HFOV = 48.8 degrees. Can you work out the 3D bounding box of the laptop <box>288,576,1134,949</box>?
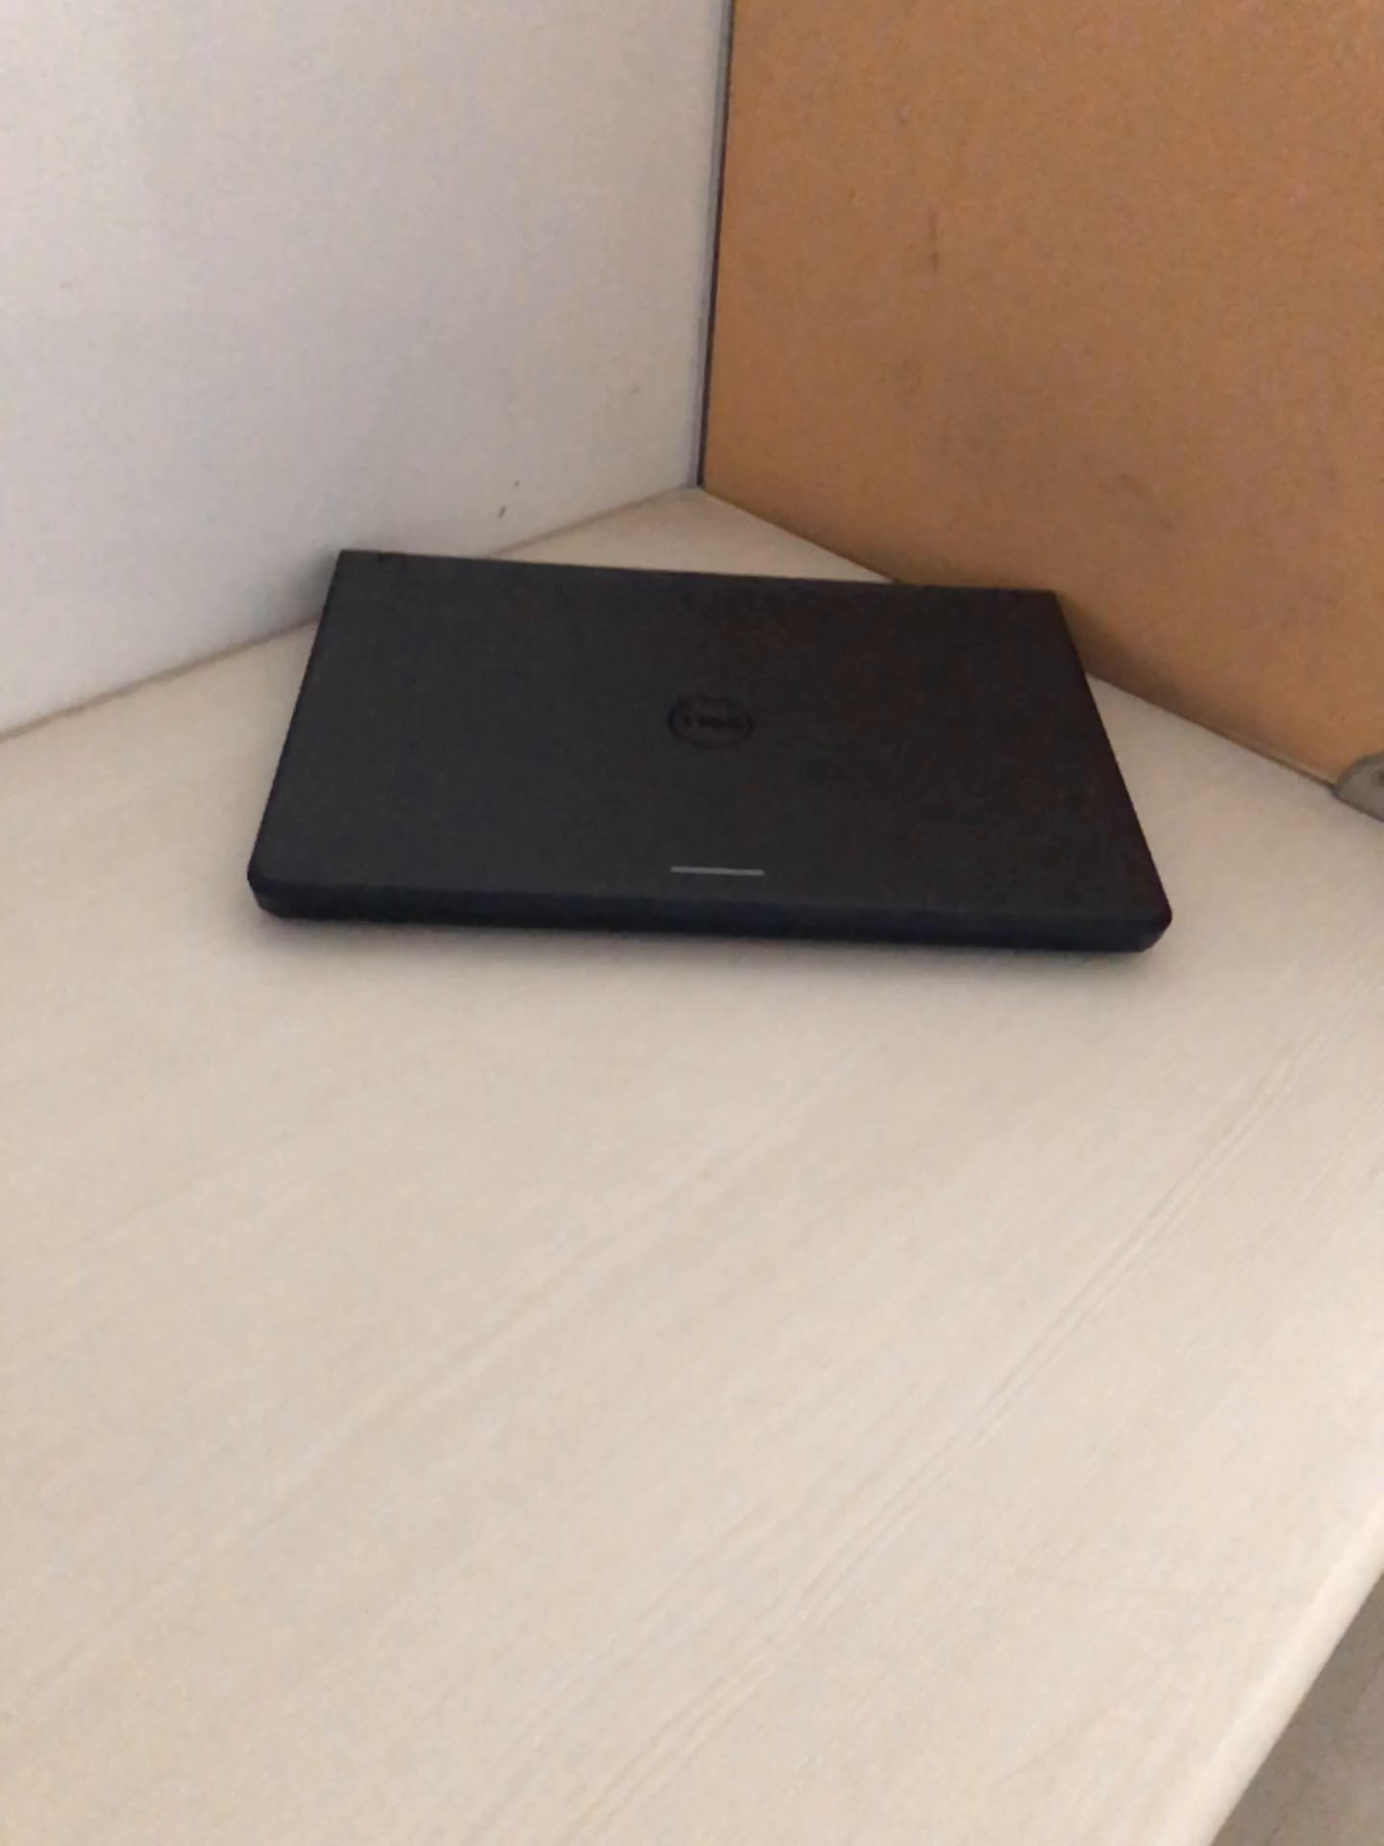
[{"bbox_3d":[0.003,-0.074,0.611,0.290,0.007,0.229,2,40,-3],"label":"laptop"}]
